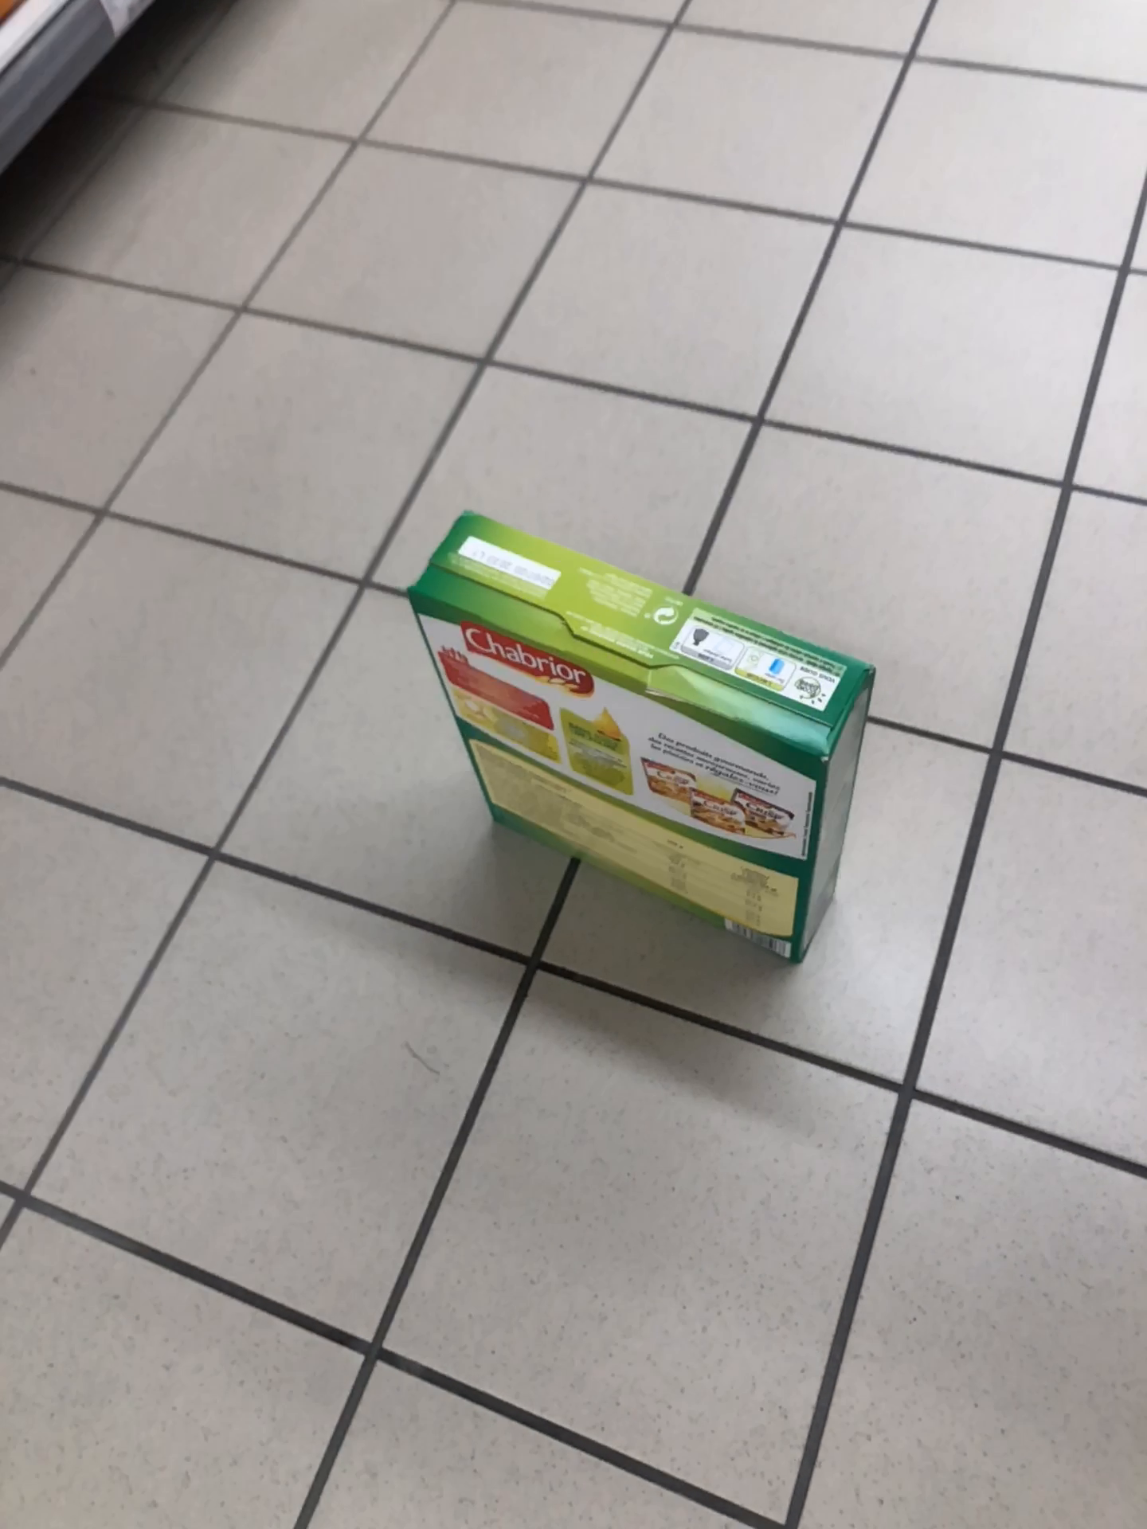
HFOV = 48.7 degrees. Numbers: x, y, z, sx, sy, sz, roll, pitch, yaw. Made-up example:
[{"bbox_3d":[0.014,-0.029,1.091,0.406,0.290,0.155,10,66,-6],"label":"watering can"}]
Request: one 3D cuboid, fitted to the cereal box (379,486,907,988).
[{"bbox_3d":[0.034,-0.002,0.586,0.200,0.219,0.060,24,66,18],"label":"cereal box"}]
